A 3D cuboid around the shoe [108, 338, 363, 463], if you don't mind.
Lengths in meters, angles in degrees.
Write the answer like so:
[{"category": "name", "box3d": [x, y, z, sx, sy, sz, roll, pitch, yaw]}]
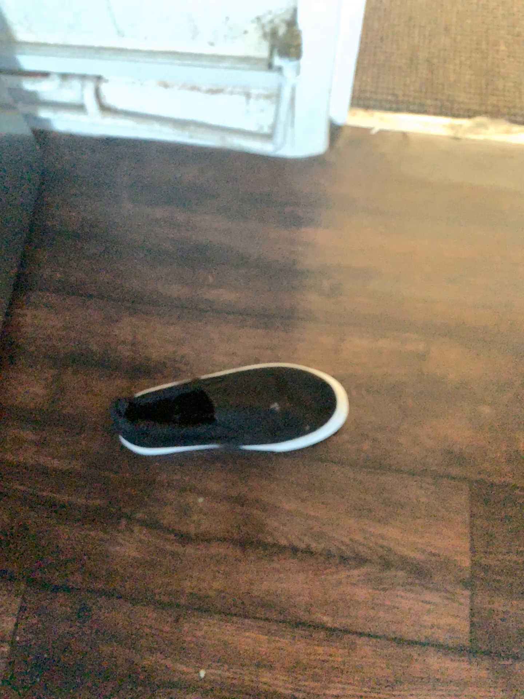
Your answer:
[{"category": "shoe", "box3d": [-0.026, 0.055, 0.563, 0.238, 0.080, 0.100, -3, 69, 0]}]
